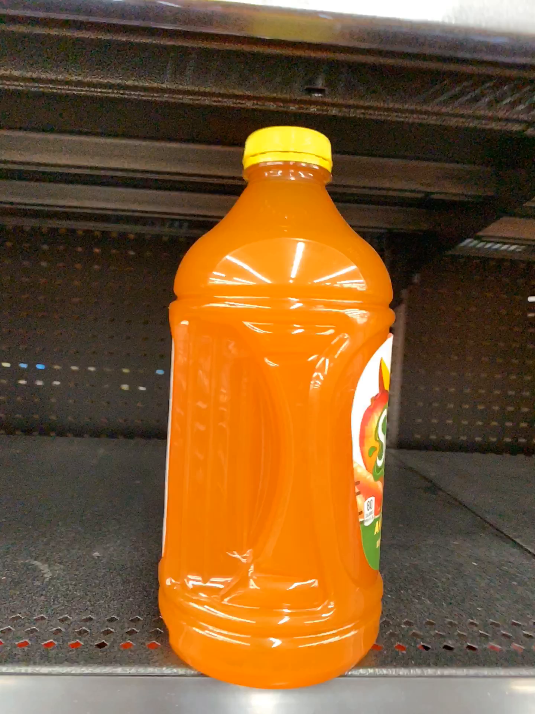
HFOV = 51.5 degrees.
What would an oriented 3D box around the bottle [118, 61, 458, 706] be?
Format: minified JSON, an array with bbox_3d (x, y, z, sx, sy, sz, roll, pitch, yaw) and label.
[{"bbox_3d":[0.005,0.012,0.293,0.125,0.260,0.128,3,2,0],"label":"bottle"}]
